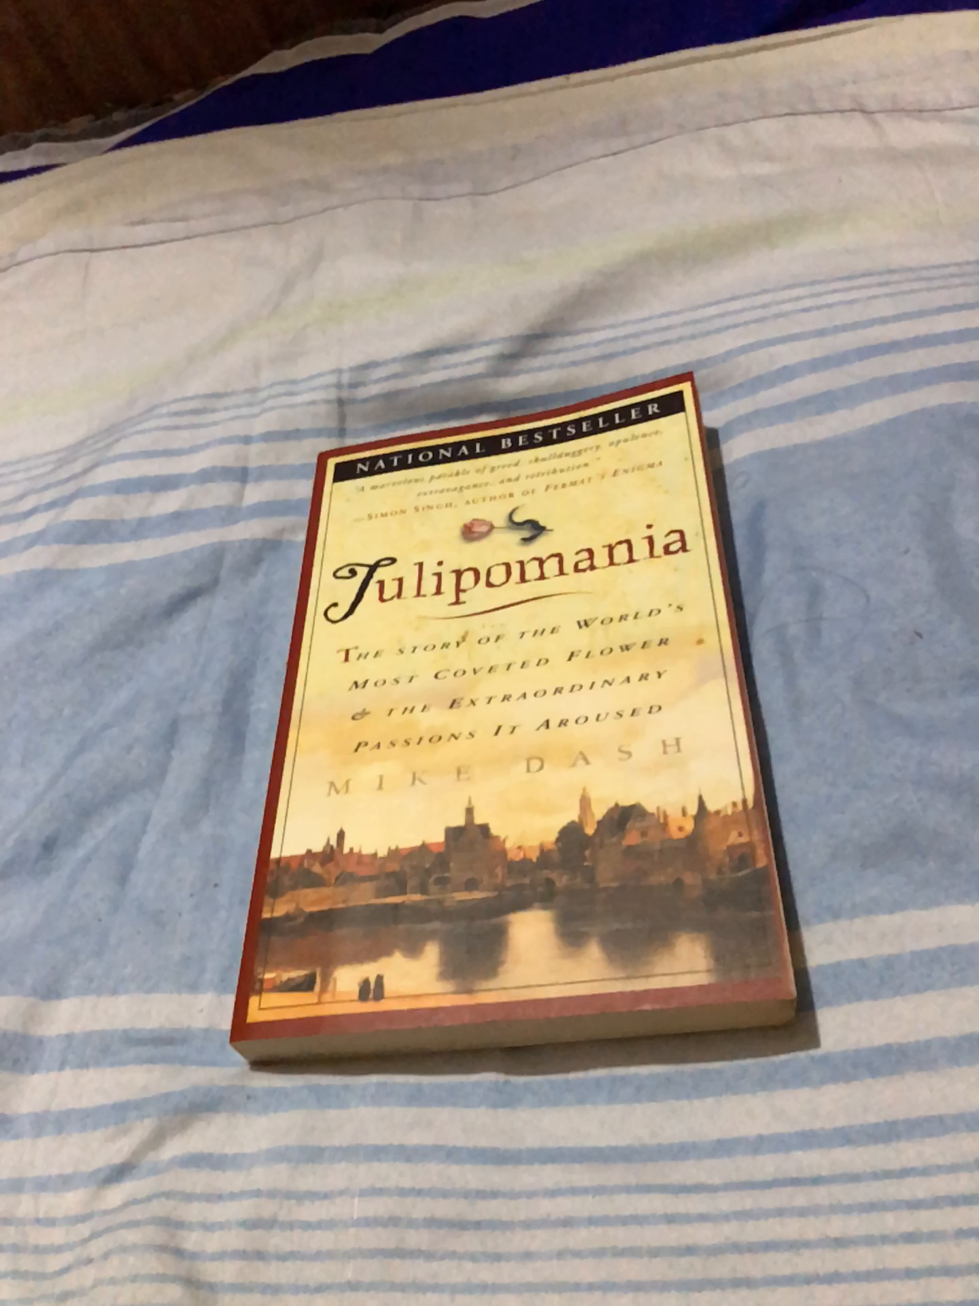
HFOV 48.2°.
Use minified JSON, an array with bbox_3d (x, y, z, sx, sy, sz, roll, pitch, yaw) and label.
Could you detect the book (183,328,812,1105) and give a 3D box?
[{"bbox_3d":[0.005,0.005,0.329,0.140,0.050,0.231,-8,50,11],"label":"book"}]
